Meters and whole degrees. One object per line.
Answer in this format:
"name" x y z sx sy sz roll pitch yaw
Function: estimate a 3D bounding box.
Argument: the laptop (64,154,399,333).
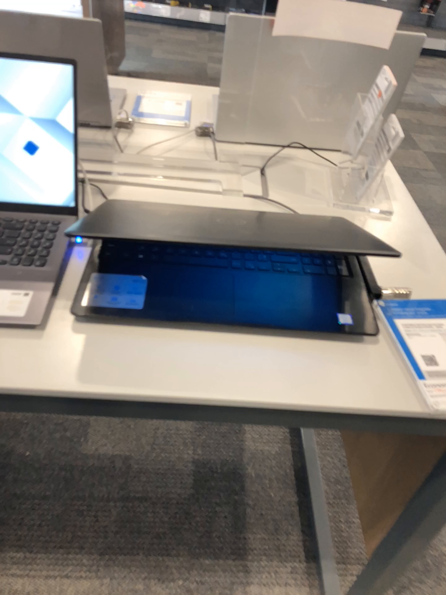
"laptop" 0.013 -0.081 0.644 0.365 0.080 0.246 5 41 -5
